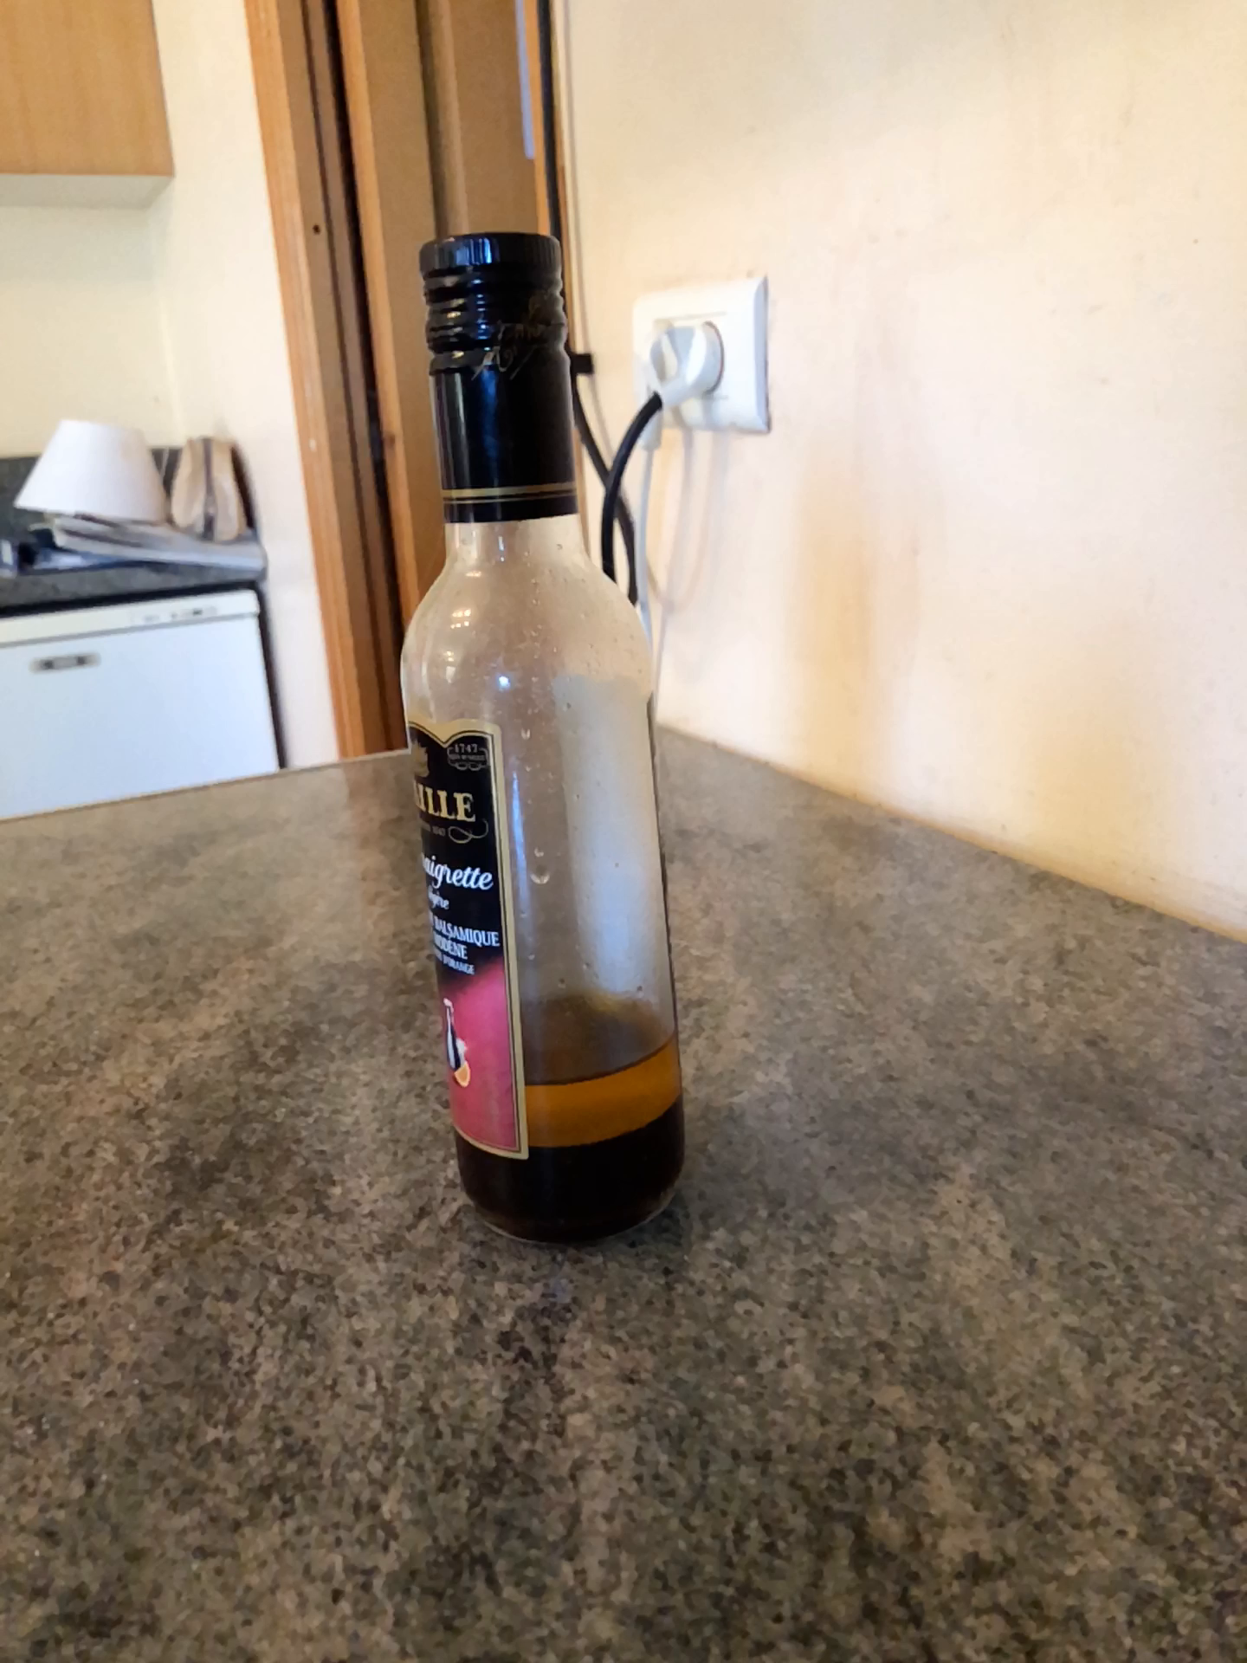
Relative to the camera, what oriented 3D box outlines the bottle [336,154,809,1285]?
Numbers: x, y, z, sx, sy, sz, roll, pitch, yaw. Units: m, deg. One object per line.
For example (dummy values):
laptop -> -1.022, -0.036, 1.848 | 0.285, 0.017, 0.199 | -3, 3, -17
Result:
bottle -> -0.009, -0.024, 0.320 | 0.070, 0.229, 0.070 | -3, 15, 1
